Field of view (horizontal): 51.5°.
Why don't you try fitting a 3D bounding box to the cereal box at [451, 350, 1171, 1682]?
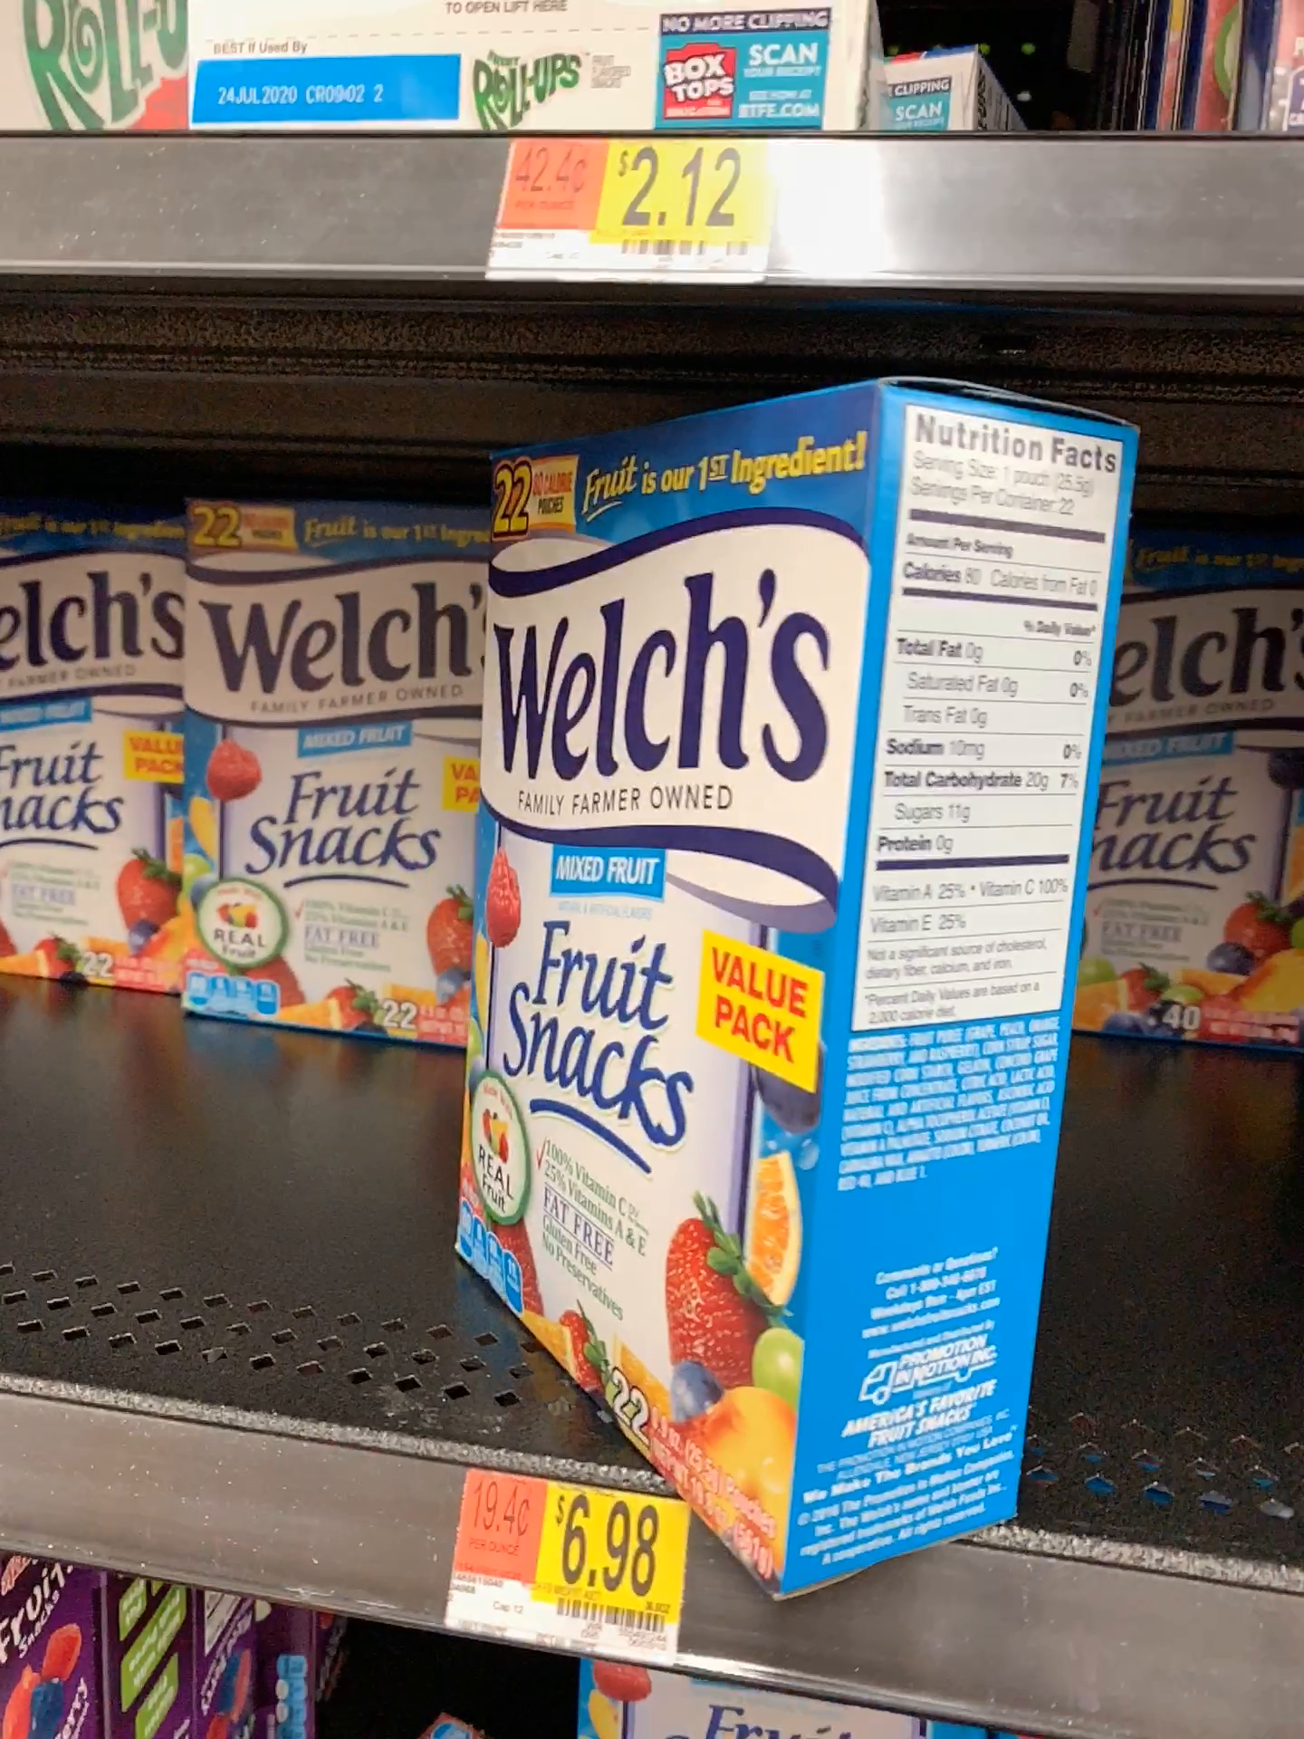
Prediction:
[{"bbox_3d":[0.017,0.018,0.314,0.060,0.230,0.170,-2,10,-30],"label":"cereal box"}]
